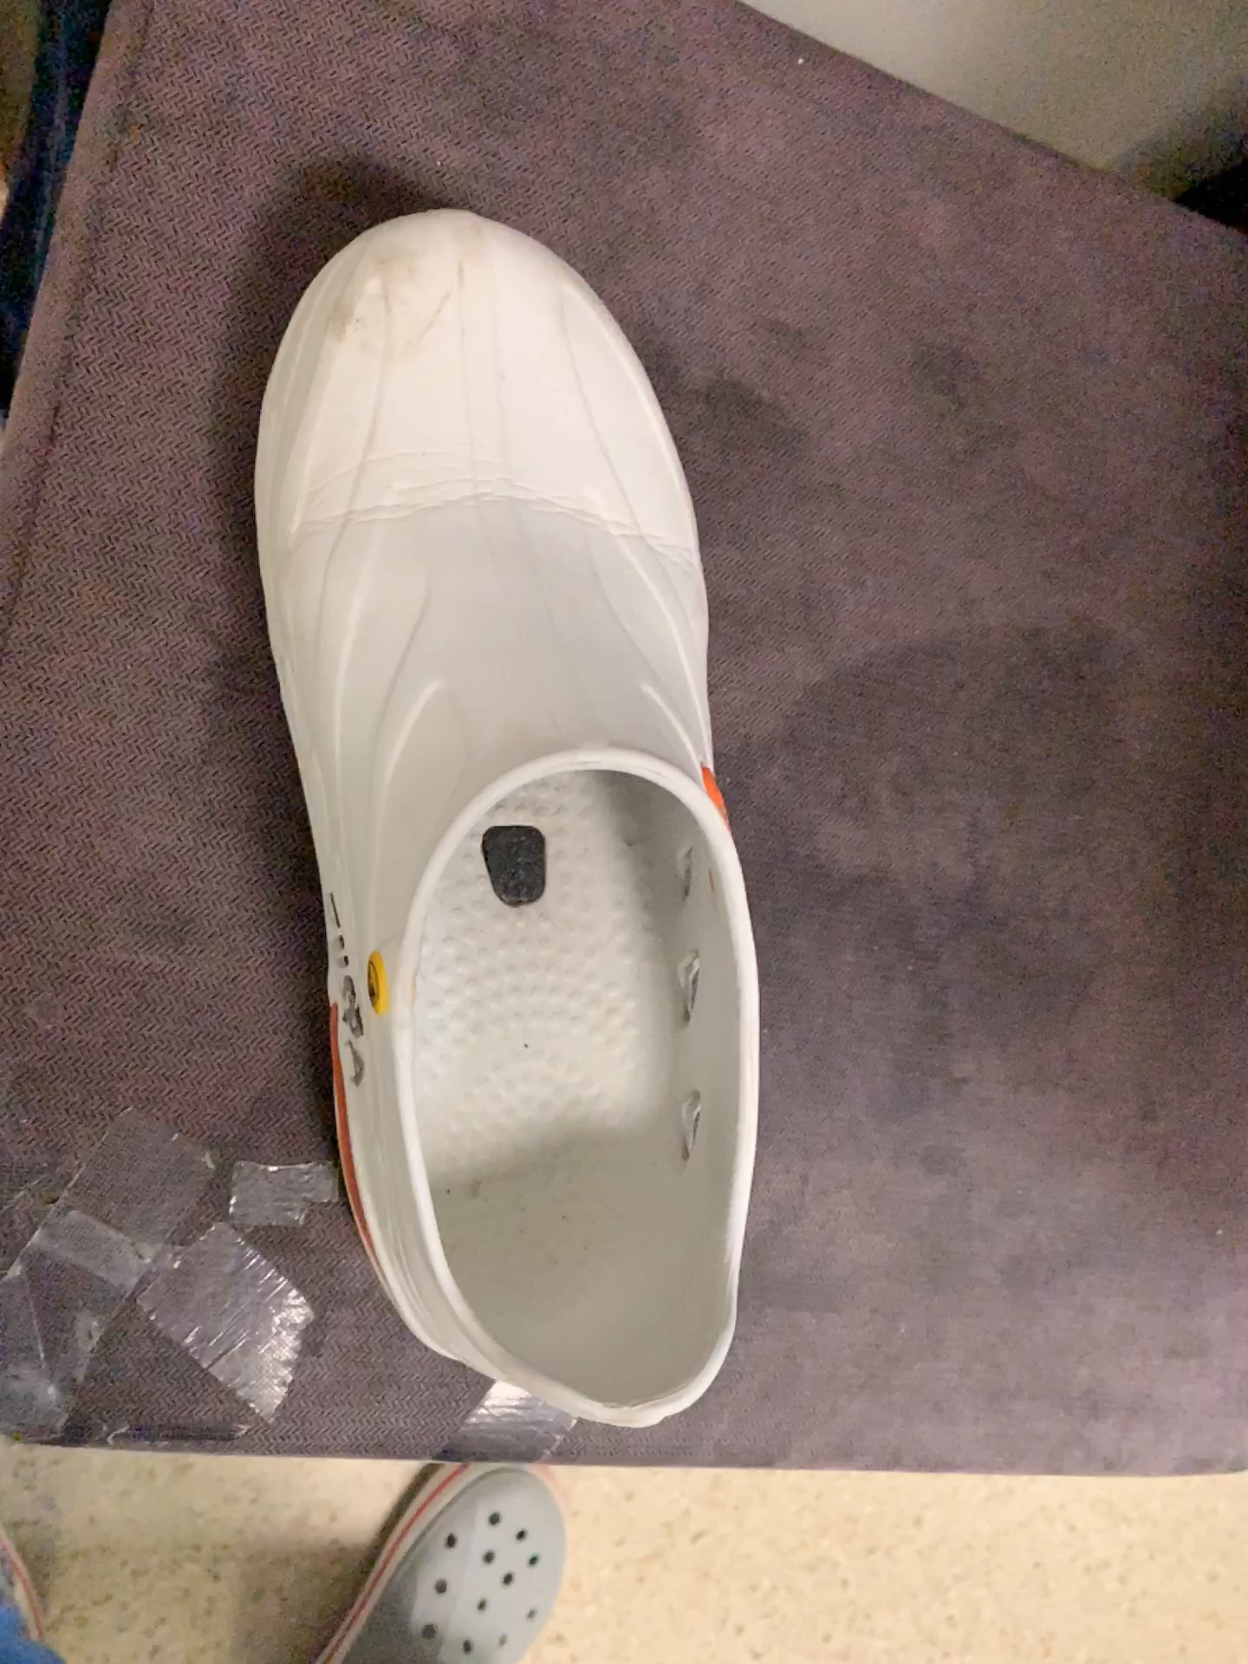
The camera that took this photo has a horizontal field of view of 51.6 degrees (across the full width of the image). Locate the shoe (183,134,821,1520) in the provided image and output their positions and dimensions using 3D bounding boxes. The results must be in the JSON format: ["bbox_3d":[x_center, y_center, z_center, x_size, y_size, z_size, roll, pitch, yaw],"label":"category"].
[{"bbox_3d":[-0.029,-0.003,0.257,0.092,0.093,0.213,-5,94,-20],"label":"shoe"}]
